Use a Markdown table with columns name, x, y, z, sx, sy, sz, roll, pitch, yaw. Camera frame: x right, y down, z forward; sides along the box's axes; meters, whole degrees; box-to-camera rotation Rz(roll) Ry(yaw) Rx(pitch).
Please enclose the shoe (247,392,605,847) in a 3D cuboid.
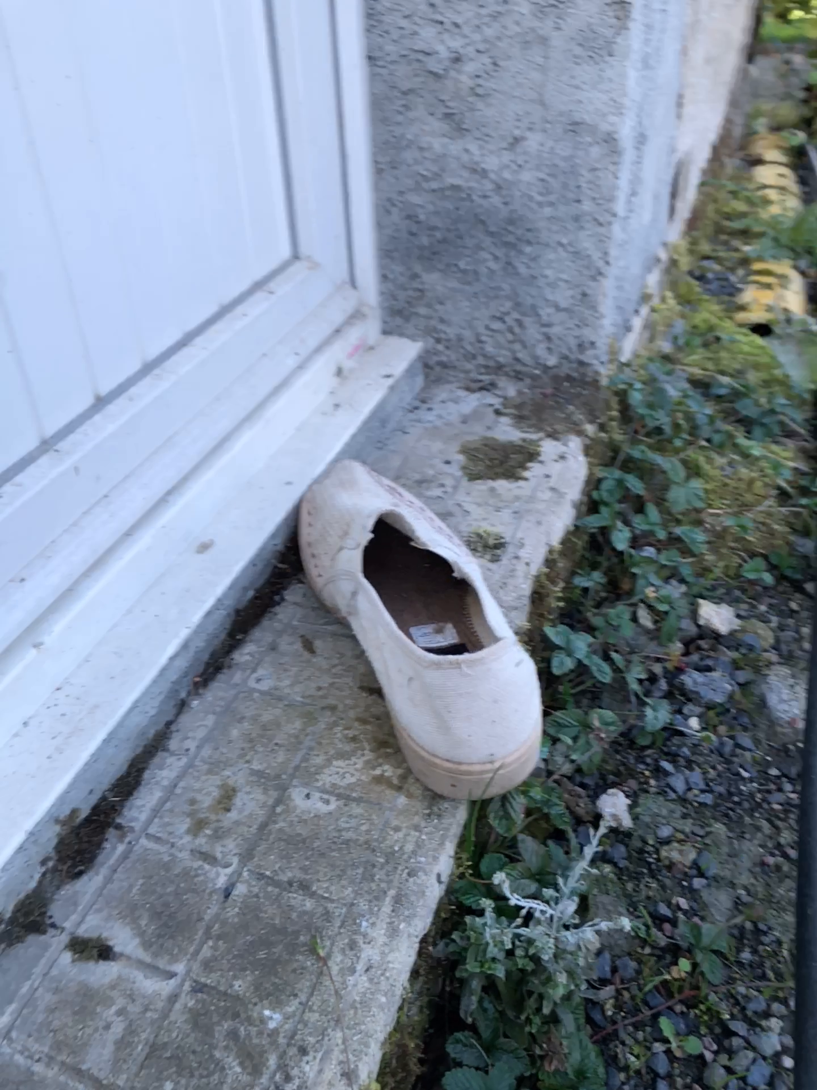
| name | x | y | z | sx | sy | sz | roll | pitch | yaw |
| --- | --- | --- | --- | --- | --- | --- | --- | --- | --- |
| shoe | -0.008 | 0.017 | 0.507 | 0.100 | 0.080 | 0.281 | -13 | 37 | -15 |
